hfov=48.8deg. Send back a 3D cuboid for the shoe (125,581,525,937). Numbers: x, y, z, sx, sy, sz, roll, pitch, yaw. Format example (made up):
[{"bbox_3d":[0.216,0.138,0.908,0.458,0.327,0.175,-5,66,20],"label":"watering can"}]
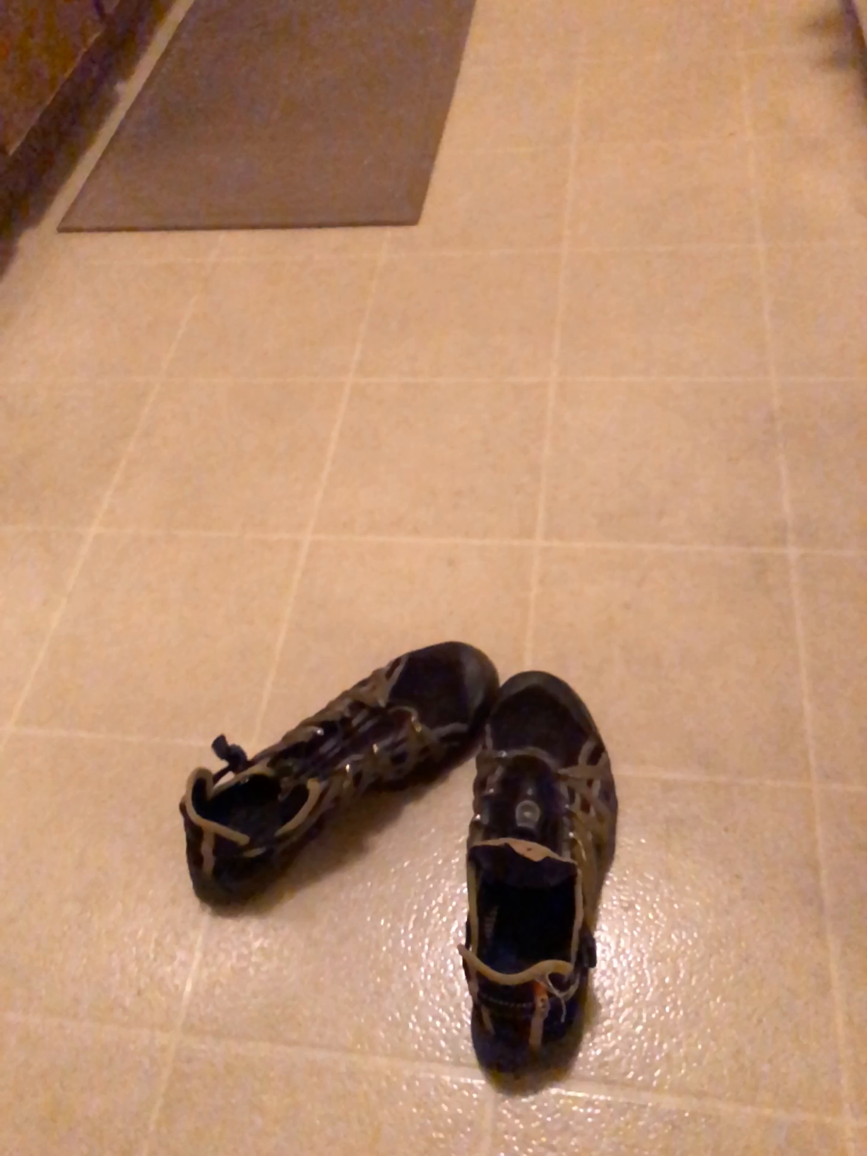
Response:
[{"bbox_3d":[-0.073,0.137,0.741,0.279,0.109,0.100,-32,56,-14],"label":"shoe"}]

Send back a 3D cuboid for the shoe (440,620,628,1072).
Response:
[{"bbox_3d":[0.077,0.181,0.686,0.109,0.111,0.287,0,54,9],"label":"shoe"}]
